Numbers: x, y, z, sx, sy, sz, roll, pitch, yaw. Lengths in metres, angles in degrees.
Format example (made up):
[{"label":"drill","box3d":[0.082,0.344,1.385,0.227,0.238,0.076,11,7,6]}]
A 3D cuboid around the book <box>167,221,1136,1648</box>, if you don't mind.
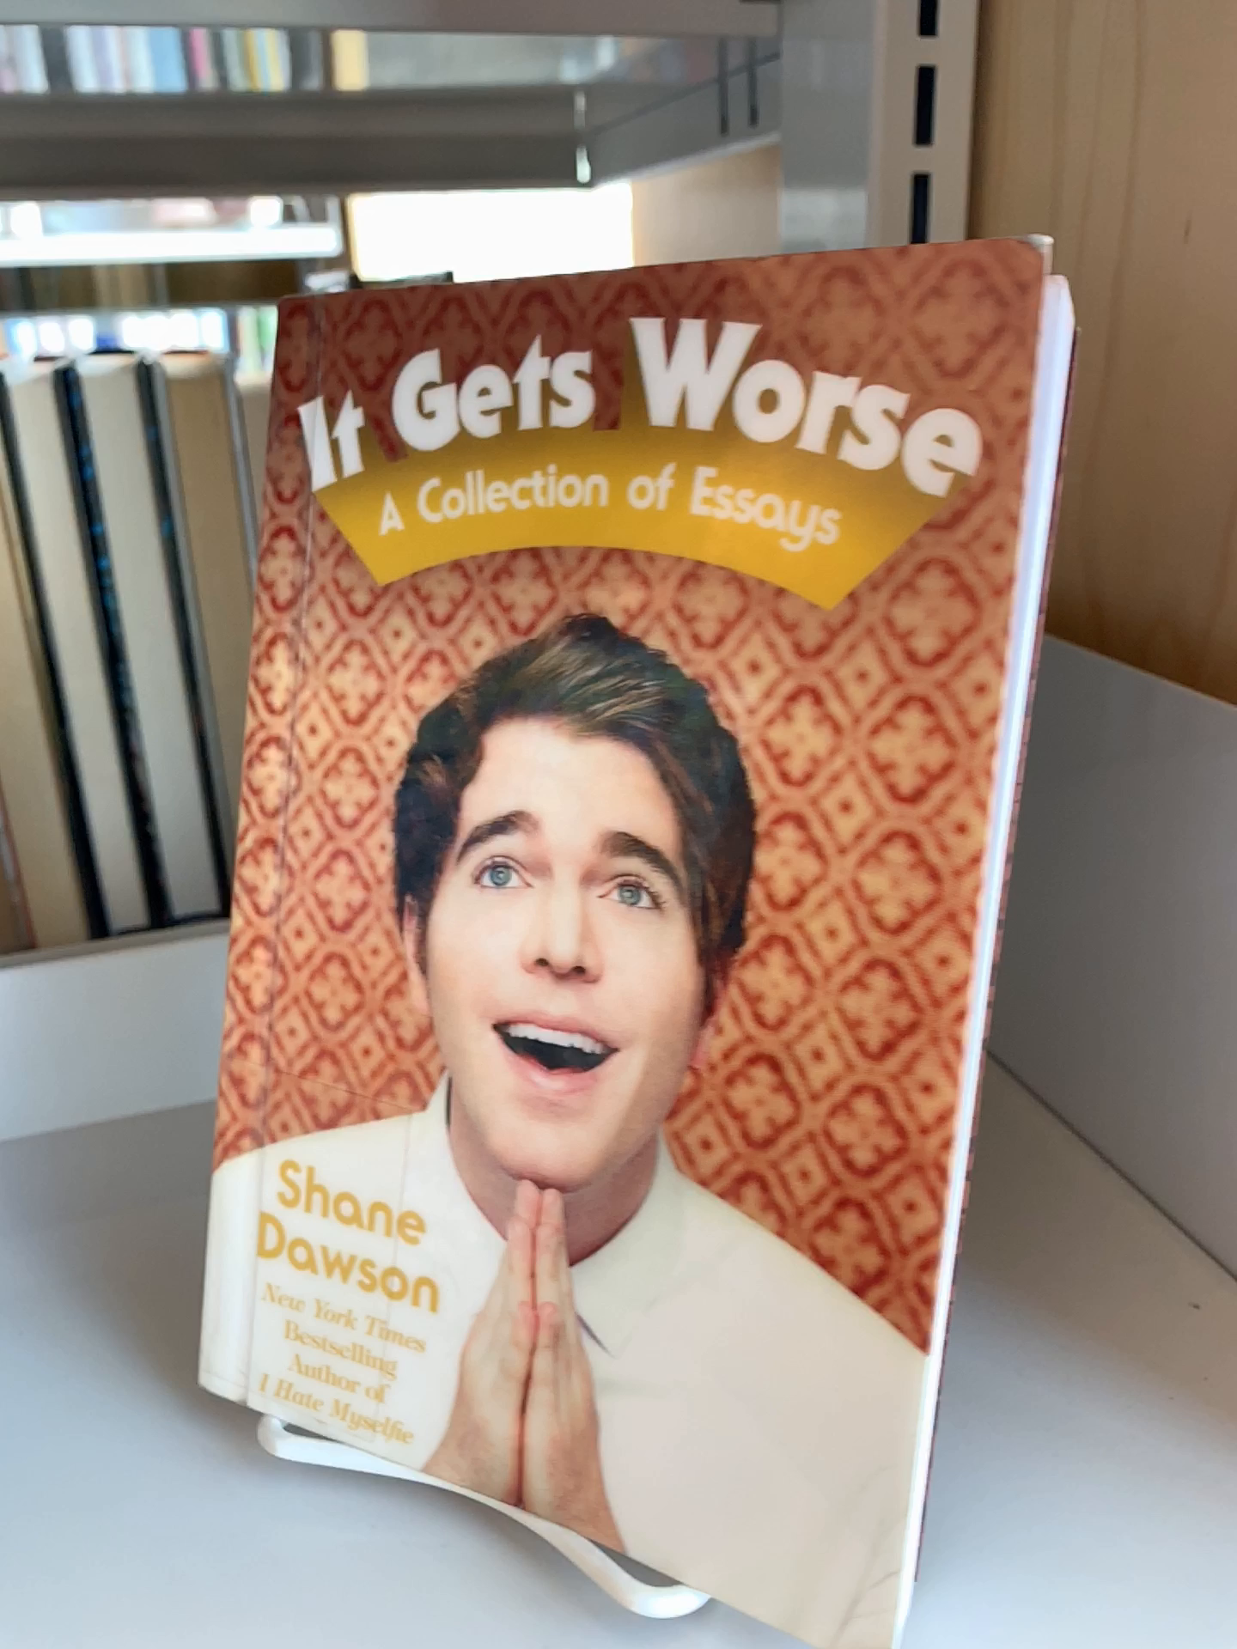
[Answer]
[{"label":"book","box3d":[-0.006,0.015,0.222,0.149,0.210,0.030,9,9,24]}]
